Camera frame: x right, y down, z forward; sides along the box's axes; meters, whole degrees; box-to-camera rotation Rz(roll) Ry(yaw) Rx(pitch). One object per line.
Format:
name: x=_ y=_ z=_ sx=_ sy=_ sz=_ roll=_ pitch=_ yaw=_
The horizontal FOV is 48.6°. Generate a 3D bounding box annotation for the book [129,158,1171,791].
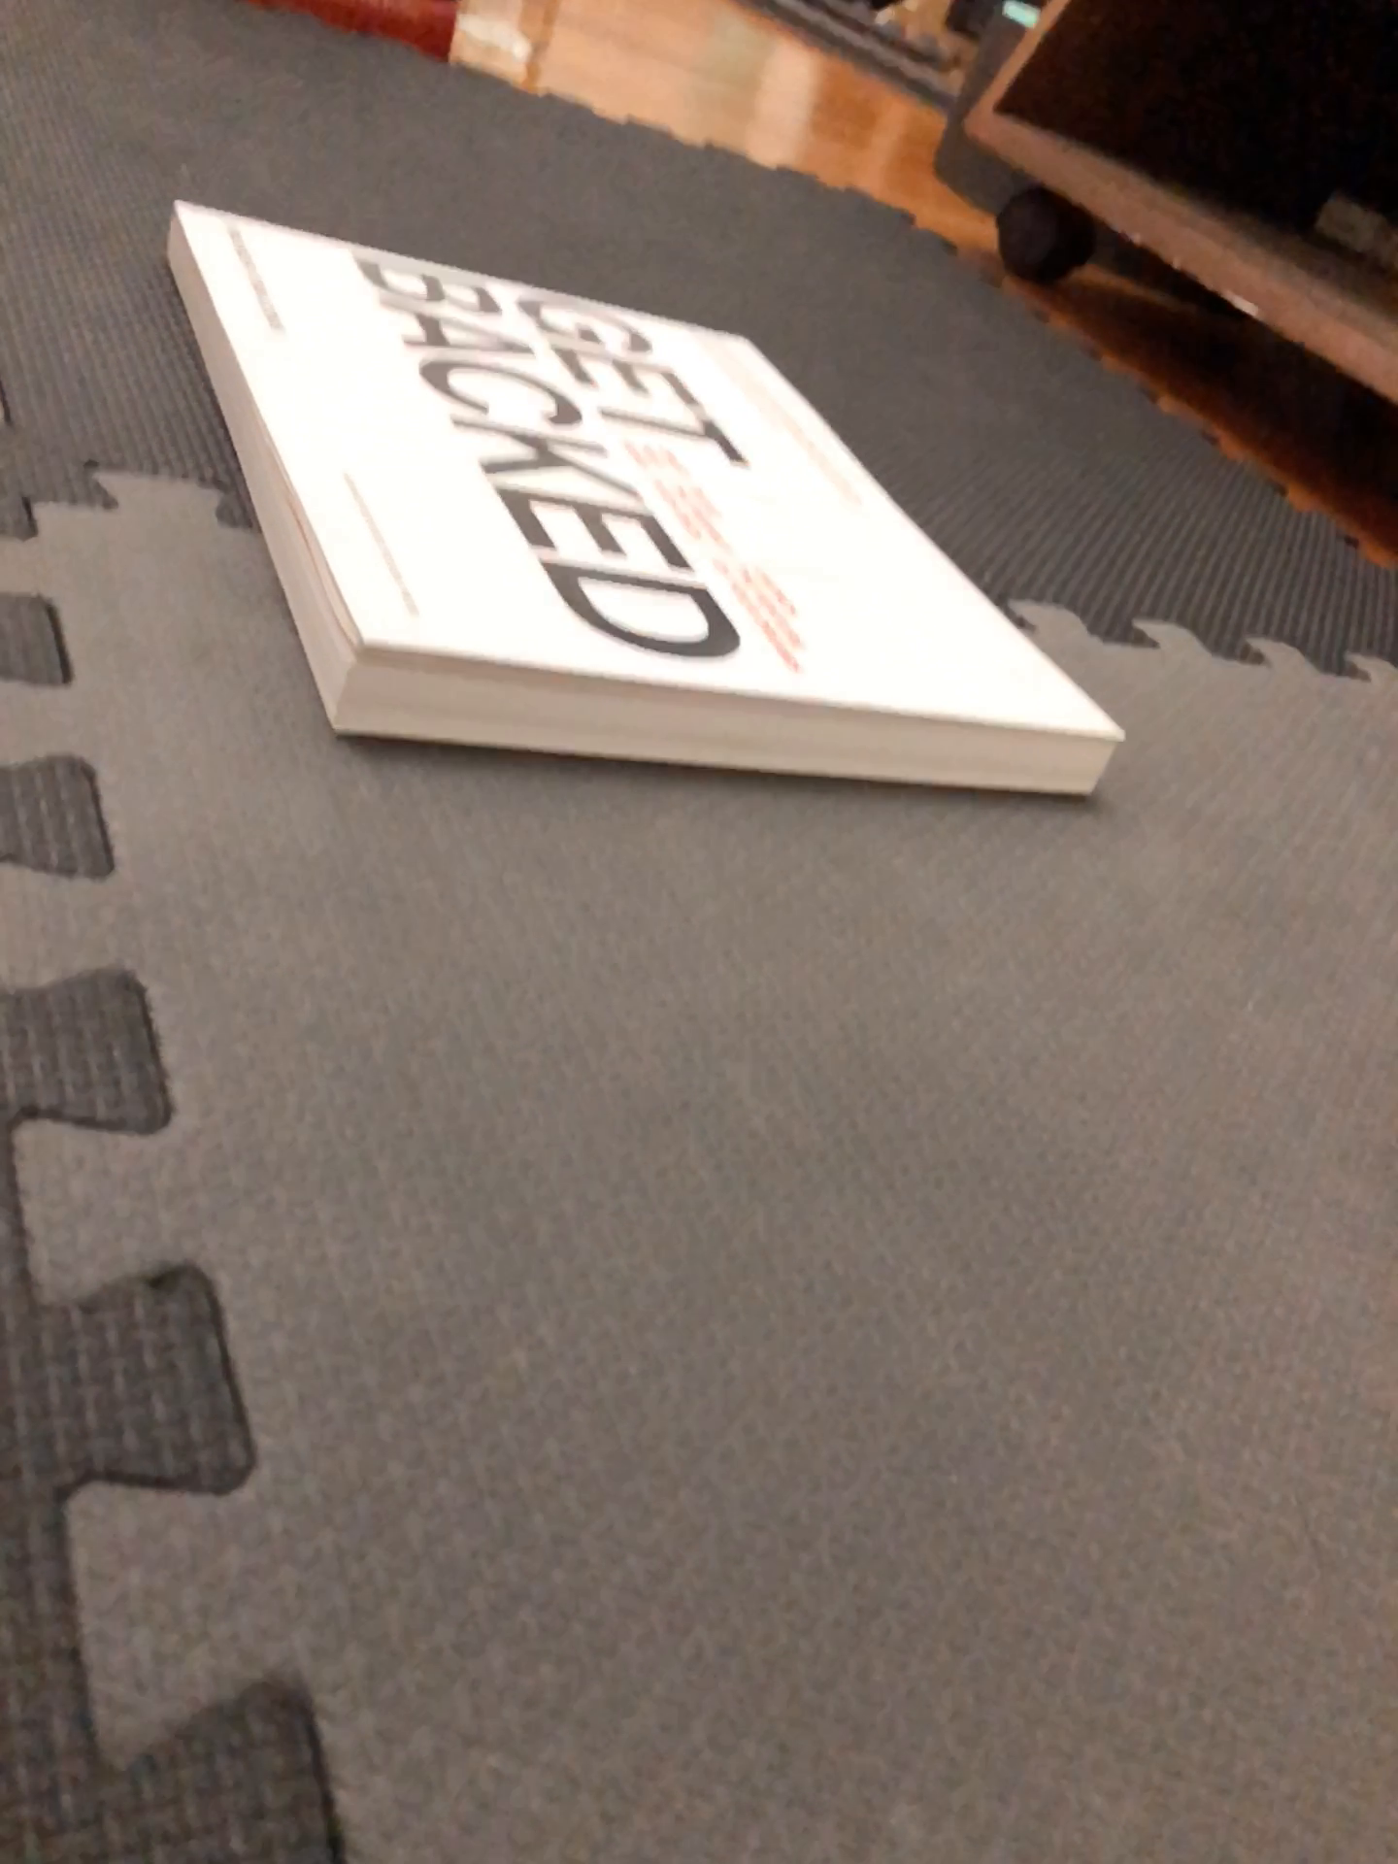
book: x=-0.027 y=-0.129 z=0.416 sx=0.210 sy=0.020 sz=0.261 roll=1 pitch=40 yaw=-29
